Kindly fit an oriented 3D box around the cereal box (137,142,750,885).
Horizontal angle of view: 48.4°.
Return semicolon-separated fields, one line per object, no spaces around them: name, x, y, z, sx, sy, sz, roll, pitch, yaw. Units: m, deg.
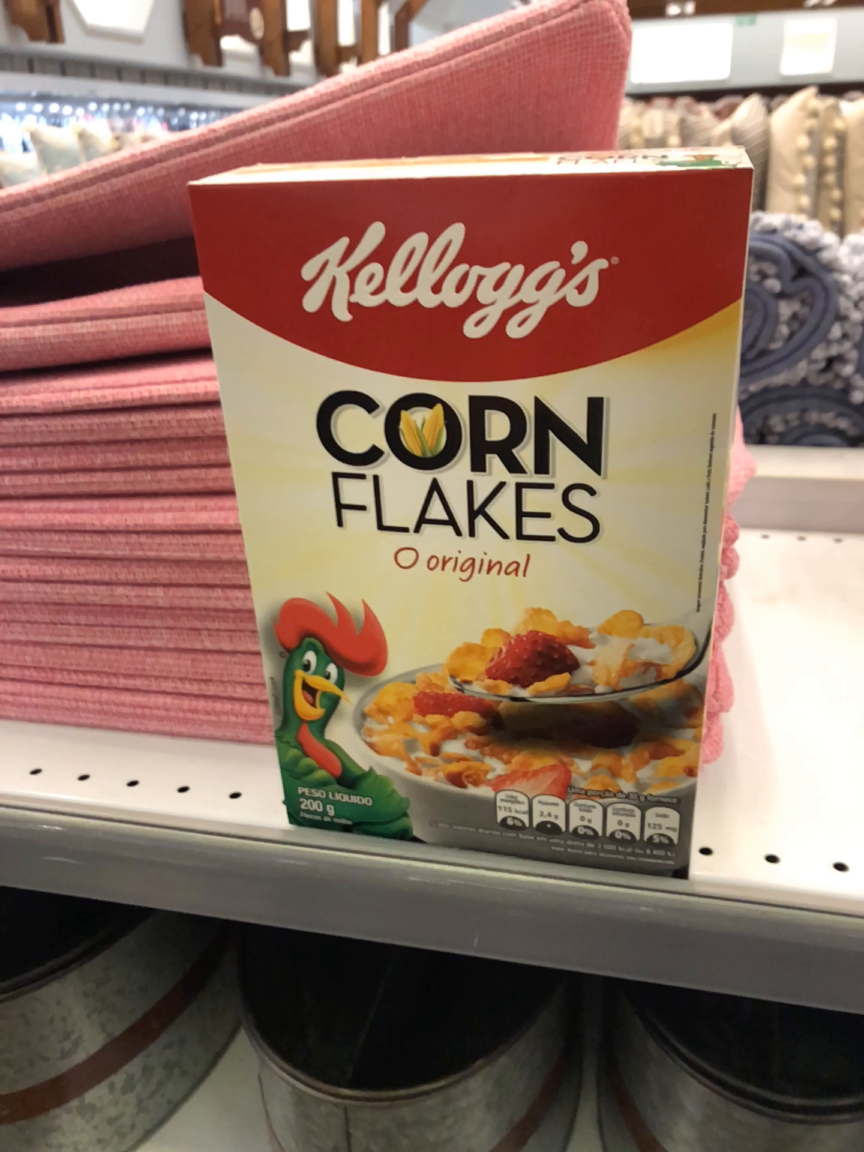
cereal box;0.011;-0.015;0.359;0.180;0.258;0.060;4;29;14
